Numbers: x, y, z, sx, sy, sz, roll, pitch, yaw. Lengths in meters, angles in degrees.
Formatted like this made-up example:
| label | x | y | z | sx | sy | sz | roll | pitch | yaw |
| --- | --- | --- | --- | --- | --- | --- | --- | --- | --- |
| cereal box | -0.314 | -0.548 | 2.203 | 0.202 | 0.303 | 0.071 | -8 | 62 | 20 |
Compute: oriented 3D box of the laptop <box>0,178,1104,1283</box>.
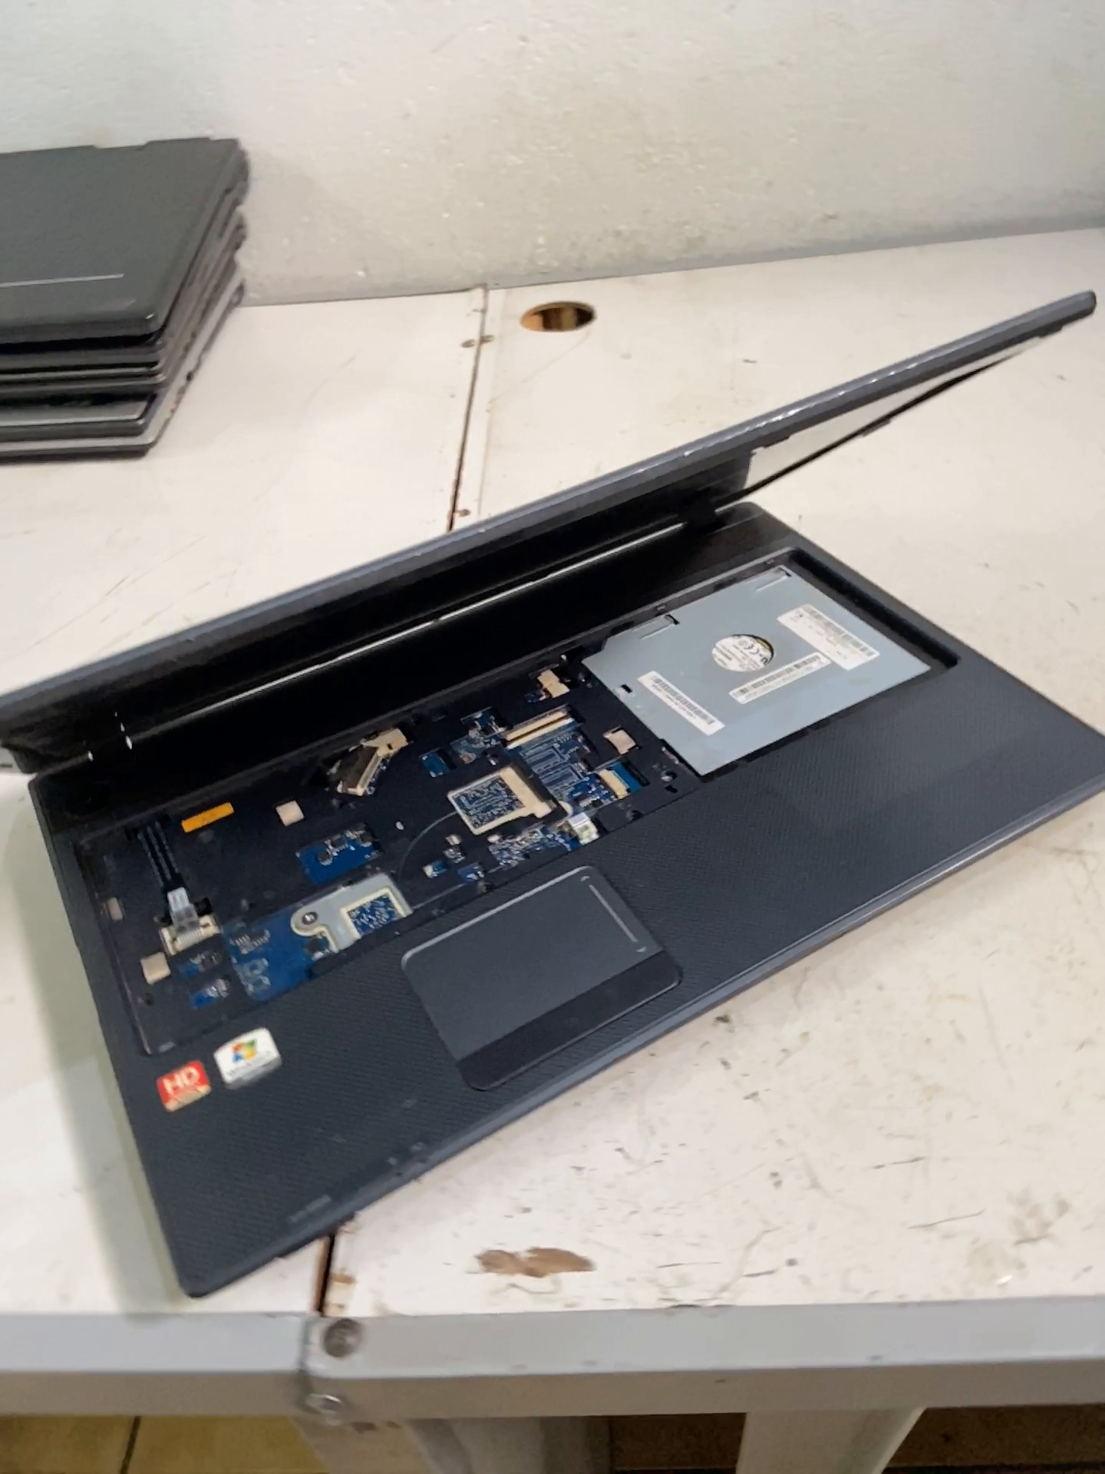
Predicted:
| label | x | y | z | sx | sy | sz | roll | pitch | yaw |
| --- | --- | --- | --- | --- | --- | --- | --- | --- | --- |
| laptop | -0.006 | -0.045 | 0.397 | 0.370 | 0.156 | 0.240 | -24 | 44 | -18 |
